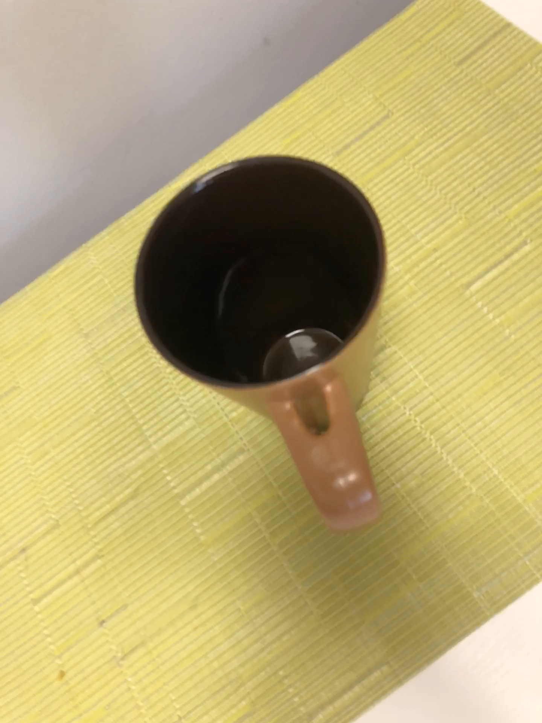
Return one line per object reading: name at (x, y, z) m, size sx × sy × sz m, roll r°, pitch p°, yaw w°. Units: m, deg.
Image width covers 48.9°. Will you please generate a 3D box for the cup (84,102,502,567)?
cup at (0.010, 0.001, 0.241) m, size 0.090 × 0.120 × 0.126 m, roll -26°, pitch 66°, yaw 3°
